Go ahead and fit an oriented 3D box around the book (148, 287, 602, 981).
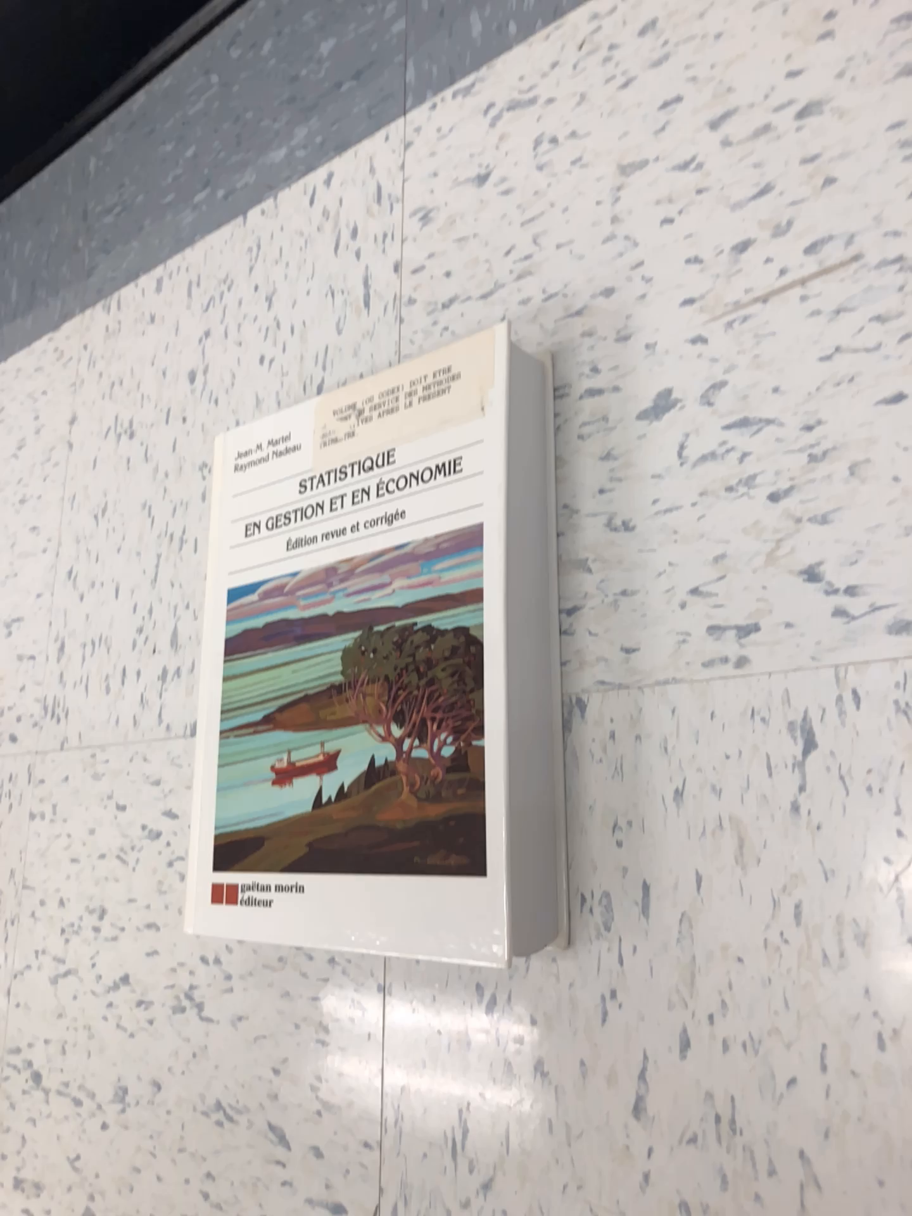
[{"bbox_3d":[-0.040,0.018,0.423,0.191,0.060,0.240,-11,72,39],"label":"book"}]
